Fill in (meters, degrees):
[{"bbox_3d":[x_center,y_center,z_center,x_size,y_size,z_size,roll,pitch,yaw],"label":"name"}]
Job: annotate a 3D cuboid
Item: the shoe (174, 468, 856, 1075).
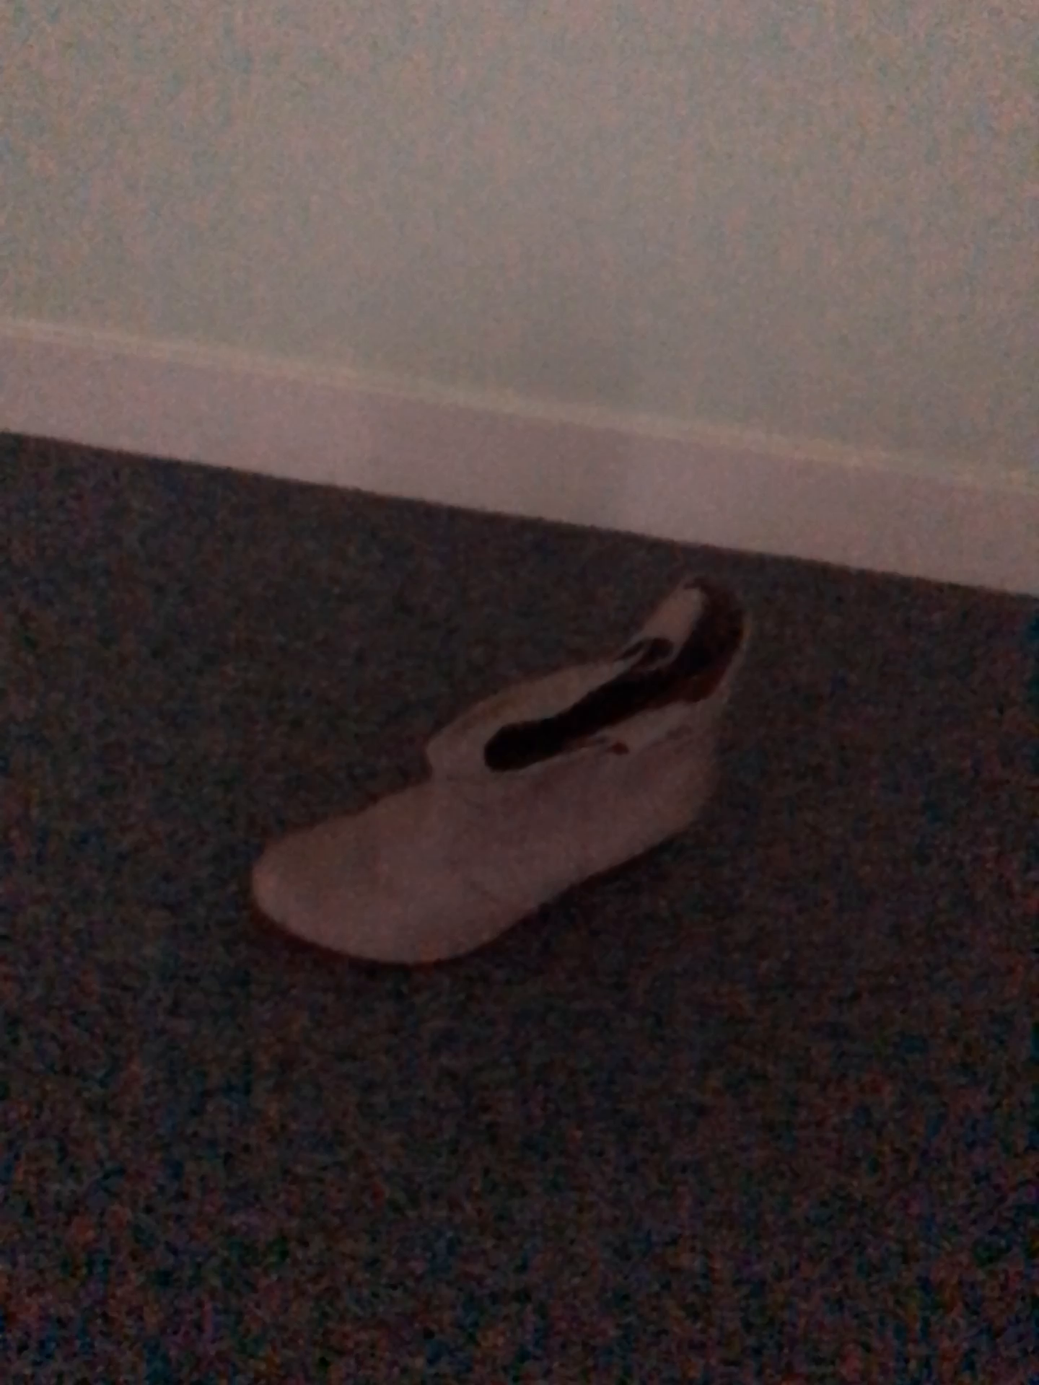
[{"bbox_3d":[-0.010,0.042,0.539,0.240,0.219,0.130,-13,53,-14],"label":"shoe"}]
